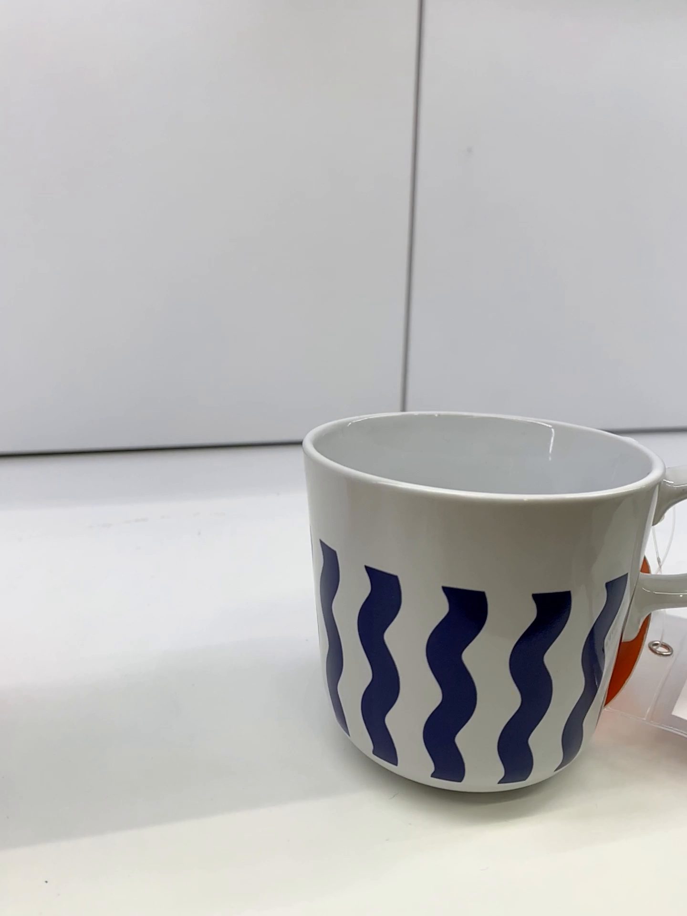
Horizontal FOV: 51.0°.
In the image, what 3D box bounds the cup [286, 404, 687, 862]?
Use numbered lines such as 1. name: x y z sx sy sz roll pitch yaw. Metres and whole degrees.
1. cup: 0.043 0.030 0.176 0.101 0.071 0.076 -3 14 -14
